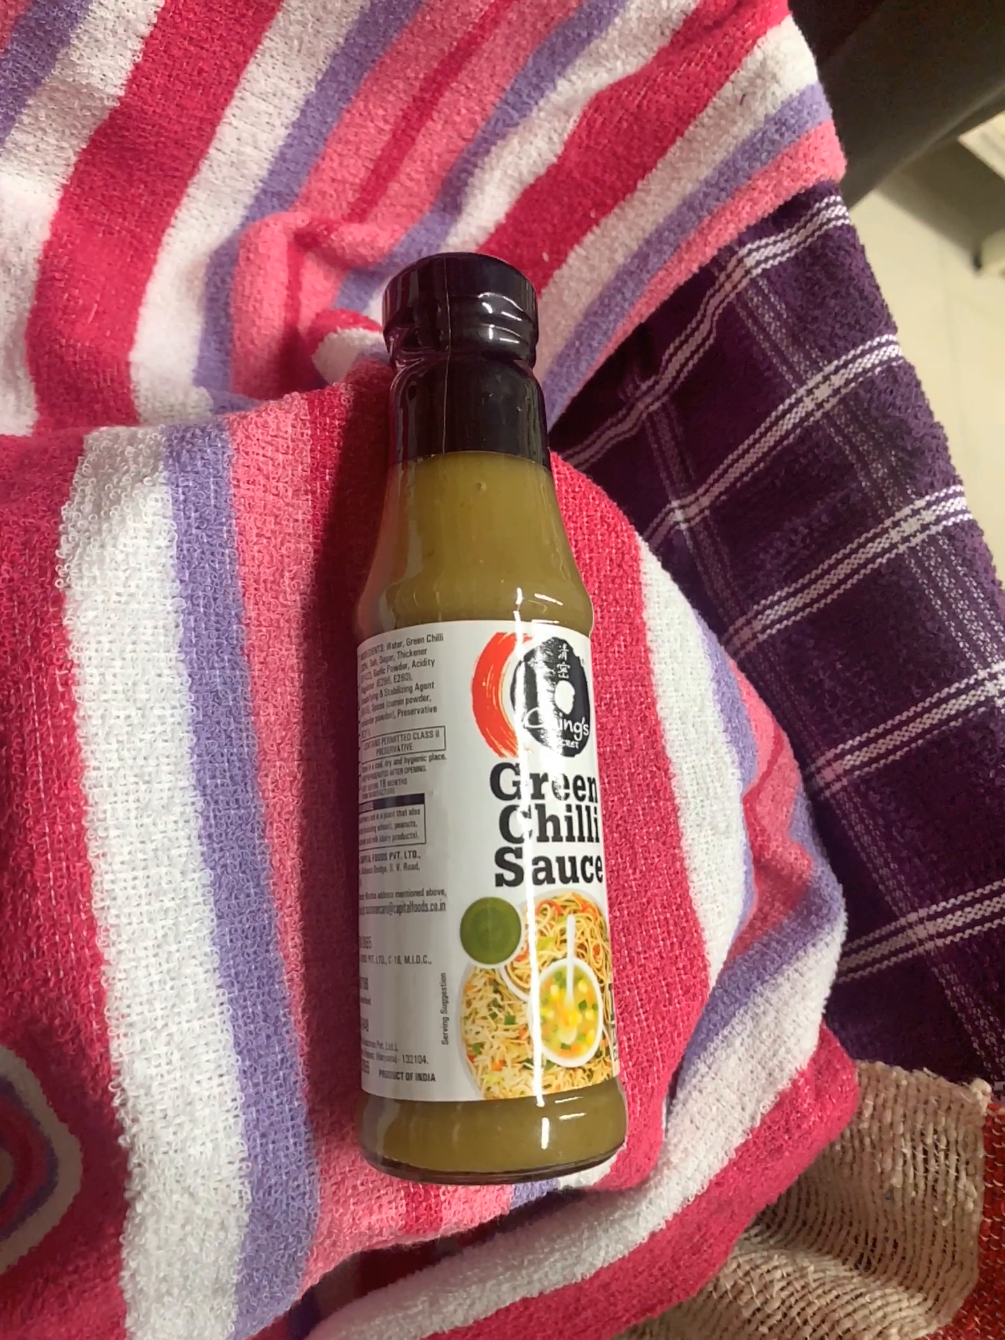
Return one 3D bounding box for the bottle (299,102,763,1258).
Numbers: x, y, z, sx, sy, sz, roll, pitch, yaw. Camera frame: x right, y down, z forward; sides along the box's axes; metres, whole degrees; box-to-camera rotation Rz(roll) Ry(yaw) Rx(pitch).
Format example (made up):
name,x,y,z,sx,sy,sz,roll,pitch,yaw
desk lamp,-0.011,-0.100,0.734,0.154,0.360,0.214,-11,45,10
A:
name,x,y,z,sx,sy,sz,roll,pitch,yaw
bottle,0.000,-0.001,0.184,0.050,0.050,0.170,5,75,-35
